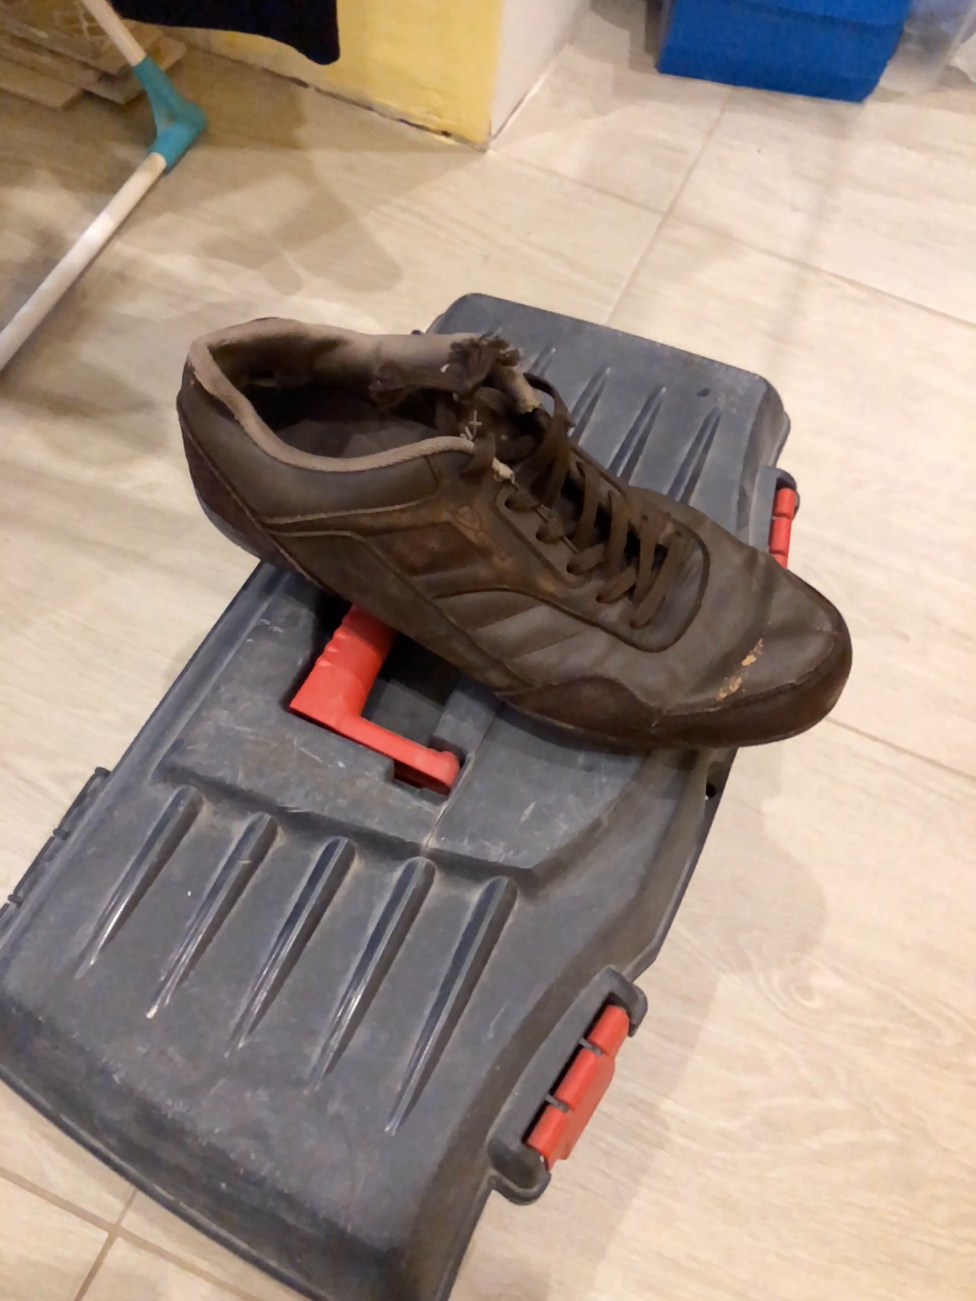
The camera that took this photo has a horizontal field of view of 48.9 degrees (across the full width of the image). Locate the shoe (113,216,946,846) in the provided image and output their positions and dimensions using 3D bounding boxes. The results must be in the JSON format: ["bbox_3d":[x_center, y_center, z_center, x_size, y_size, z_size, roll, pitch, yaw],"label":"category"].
[{"bbox_3d":[0.013,-0.049,0.427,0.280,0.099,0.111,25,60,9],"label":"shoe"}]
